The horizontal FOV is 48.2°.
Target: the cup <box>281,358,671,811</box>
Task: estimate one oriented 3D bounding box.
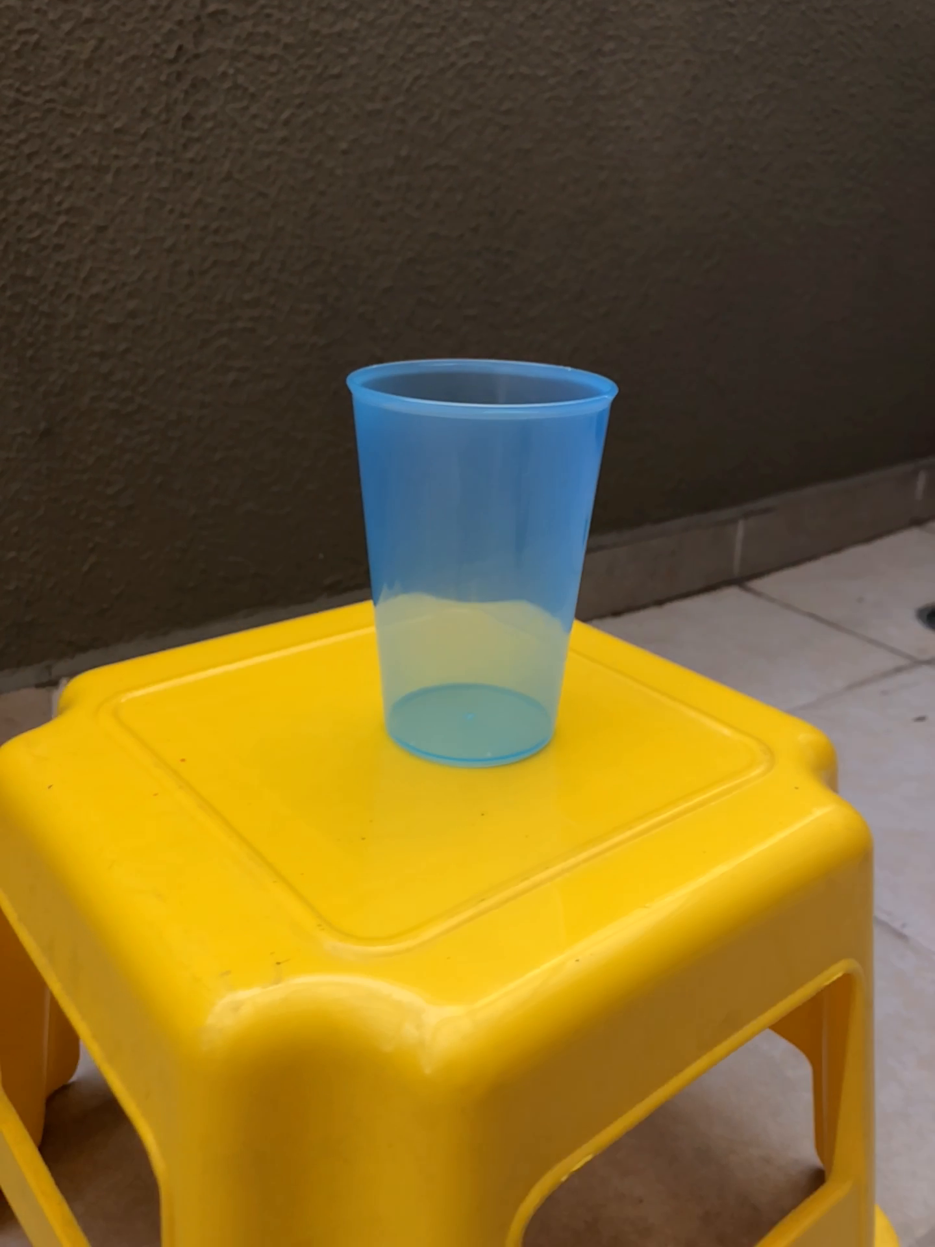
[{"bbox_3d":[0.001,-0.018,0.302,0.070,0.099,0.080,-19,30,-41],"label":"cup"}]
